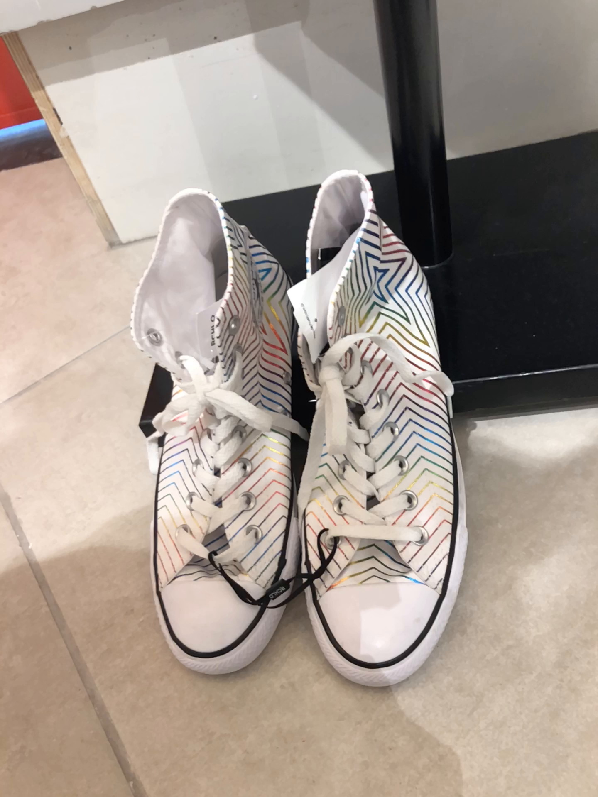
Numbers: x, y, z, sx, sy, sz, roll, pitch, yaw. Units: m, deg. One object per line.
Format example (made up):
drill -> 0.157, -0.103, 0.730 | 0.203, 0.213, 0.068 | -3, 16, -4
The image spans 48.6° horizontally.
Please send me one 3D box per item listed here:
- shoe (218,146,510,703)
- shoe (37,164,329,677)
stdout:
shoe -> 0.046, 0.012, 0.406 | 0.120, 0.139, 0.302 | -5, 58, 13
shoe -> -0.053, 0.019, 0.439 | 0.120, 0.139, 0.302 | -5, 65, 13
